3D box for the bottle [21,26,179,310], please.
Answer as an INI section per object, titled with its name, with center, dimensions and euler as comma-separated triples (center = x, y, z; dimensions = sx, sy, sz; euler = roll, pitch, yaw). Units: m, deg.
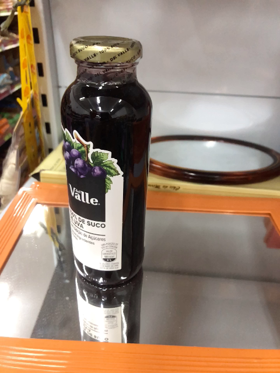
[bottle]
center = -0.025, -0.009, 0.232
dimensions = 0.070, 0.189, 0.060
euler = 19, 34, 25
